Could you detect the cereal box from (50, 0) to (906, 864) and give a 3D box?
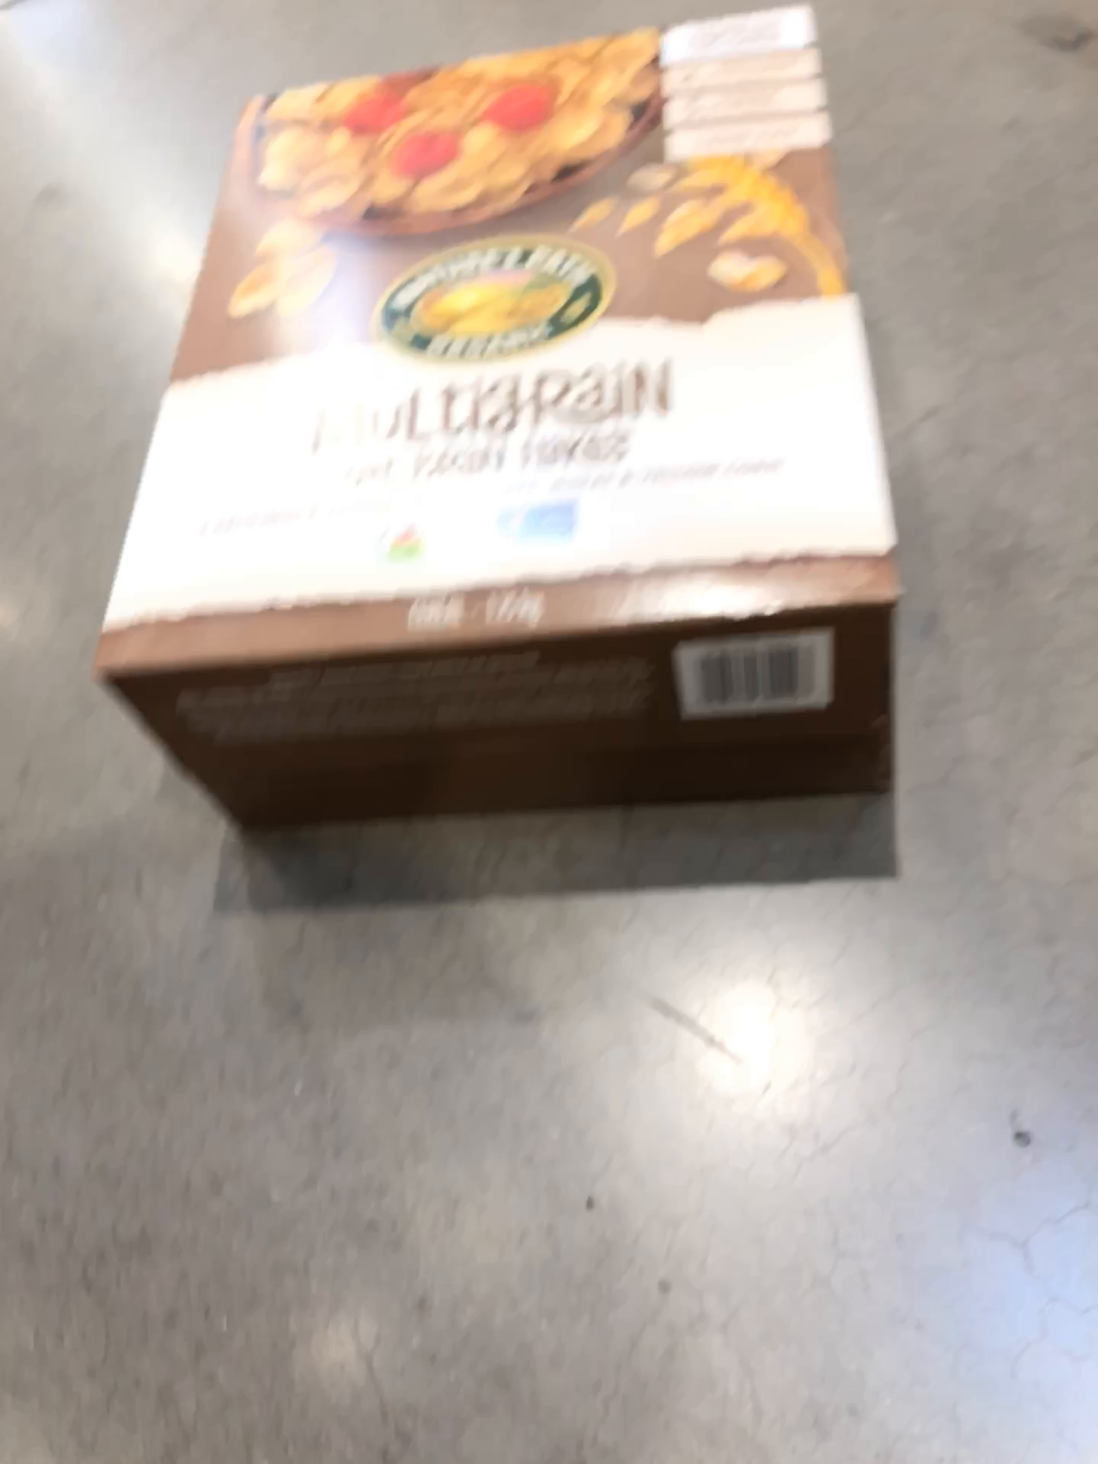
[{"bbox_3d":[-0.013,-0.122,0.465,0.240,0.110,0.310,-5,57,10],"label":"cereal box"}]
